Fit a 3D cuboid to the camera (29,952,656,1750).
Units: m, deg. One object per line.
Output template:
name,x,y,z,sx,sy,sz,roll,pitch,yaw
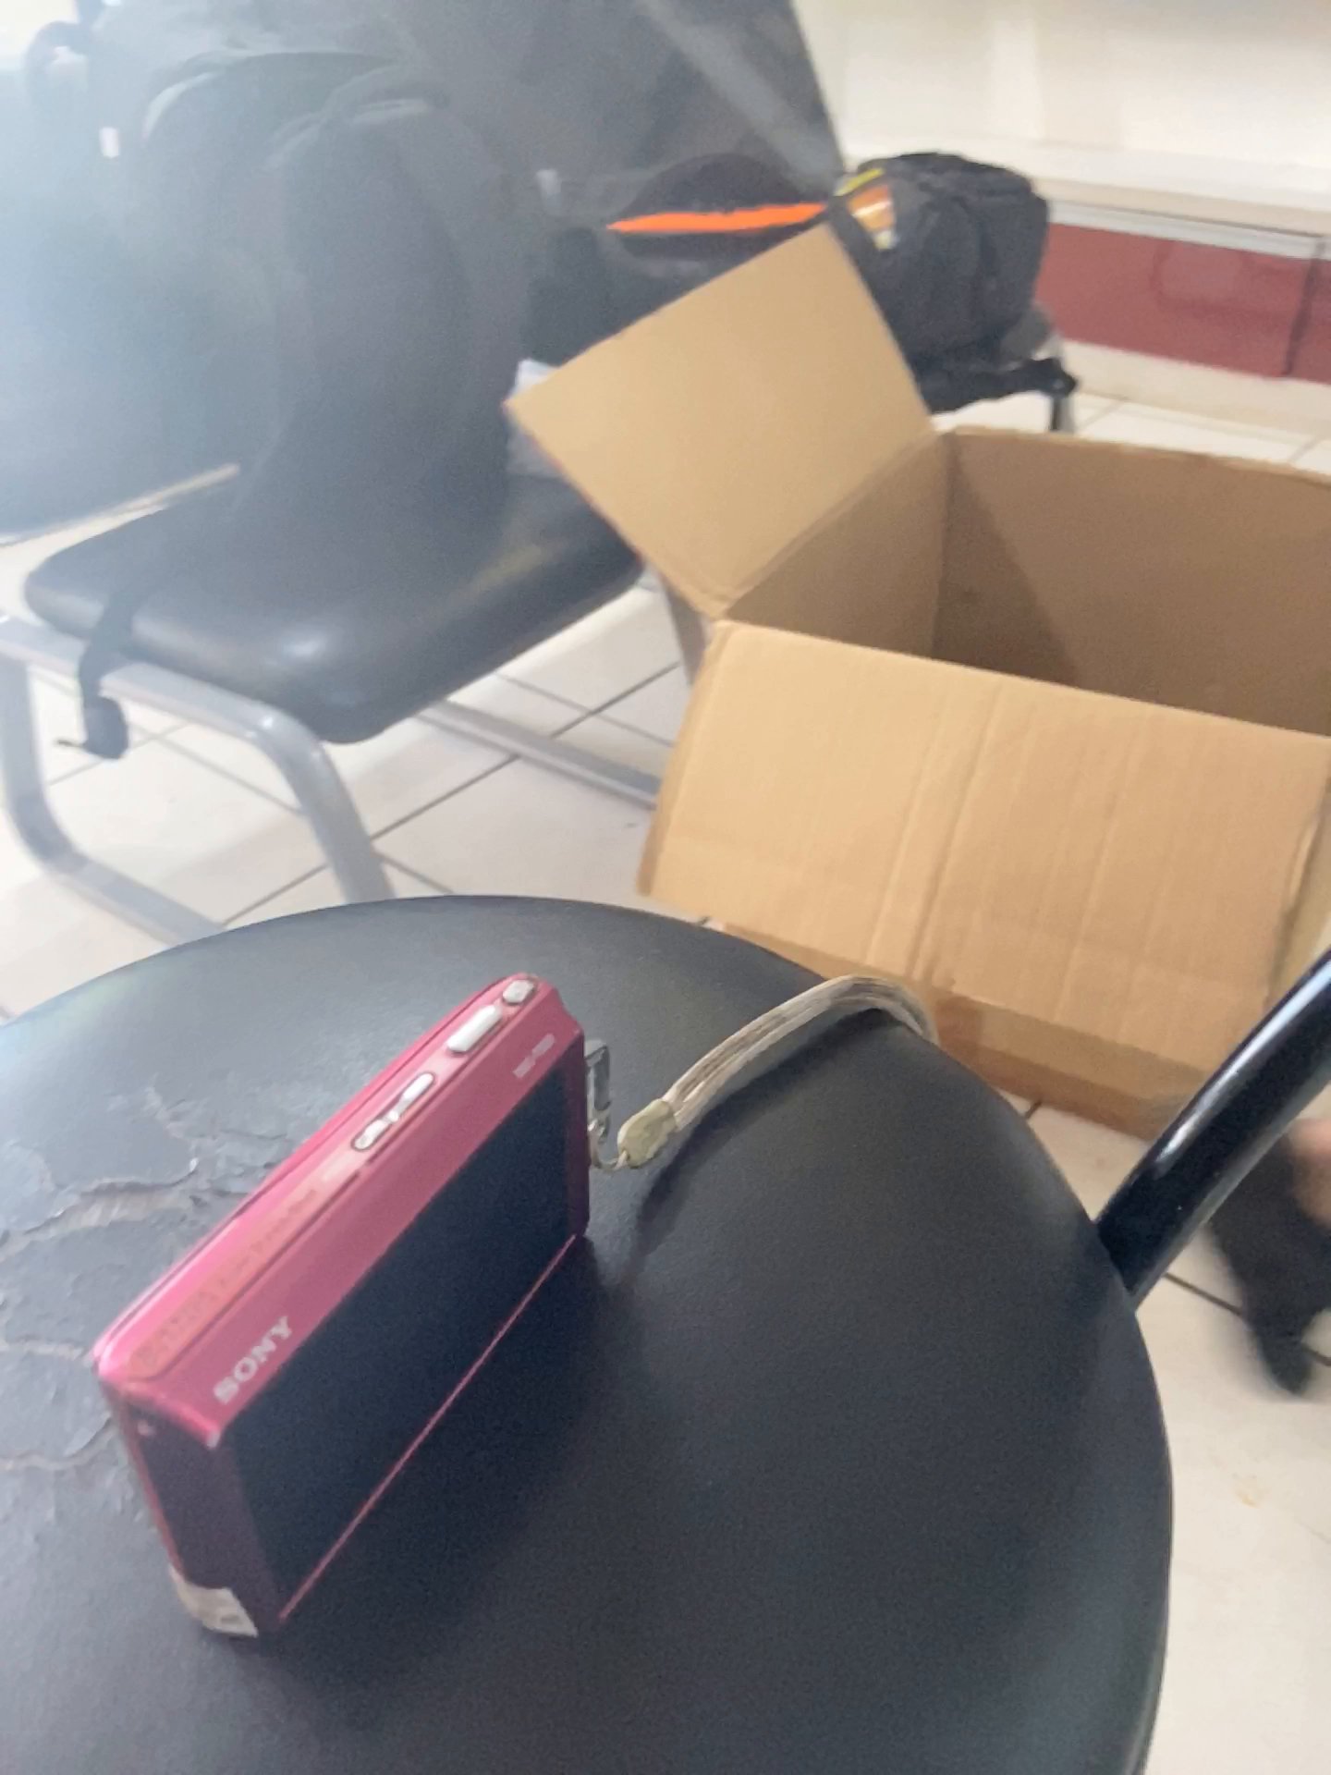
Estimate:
camera,-0.040,0.065,0.215,0.030,0.060,0.101,17,39,24
